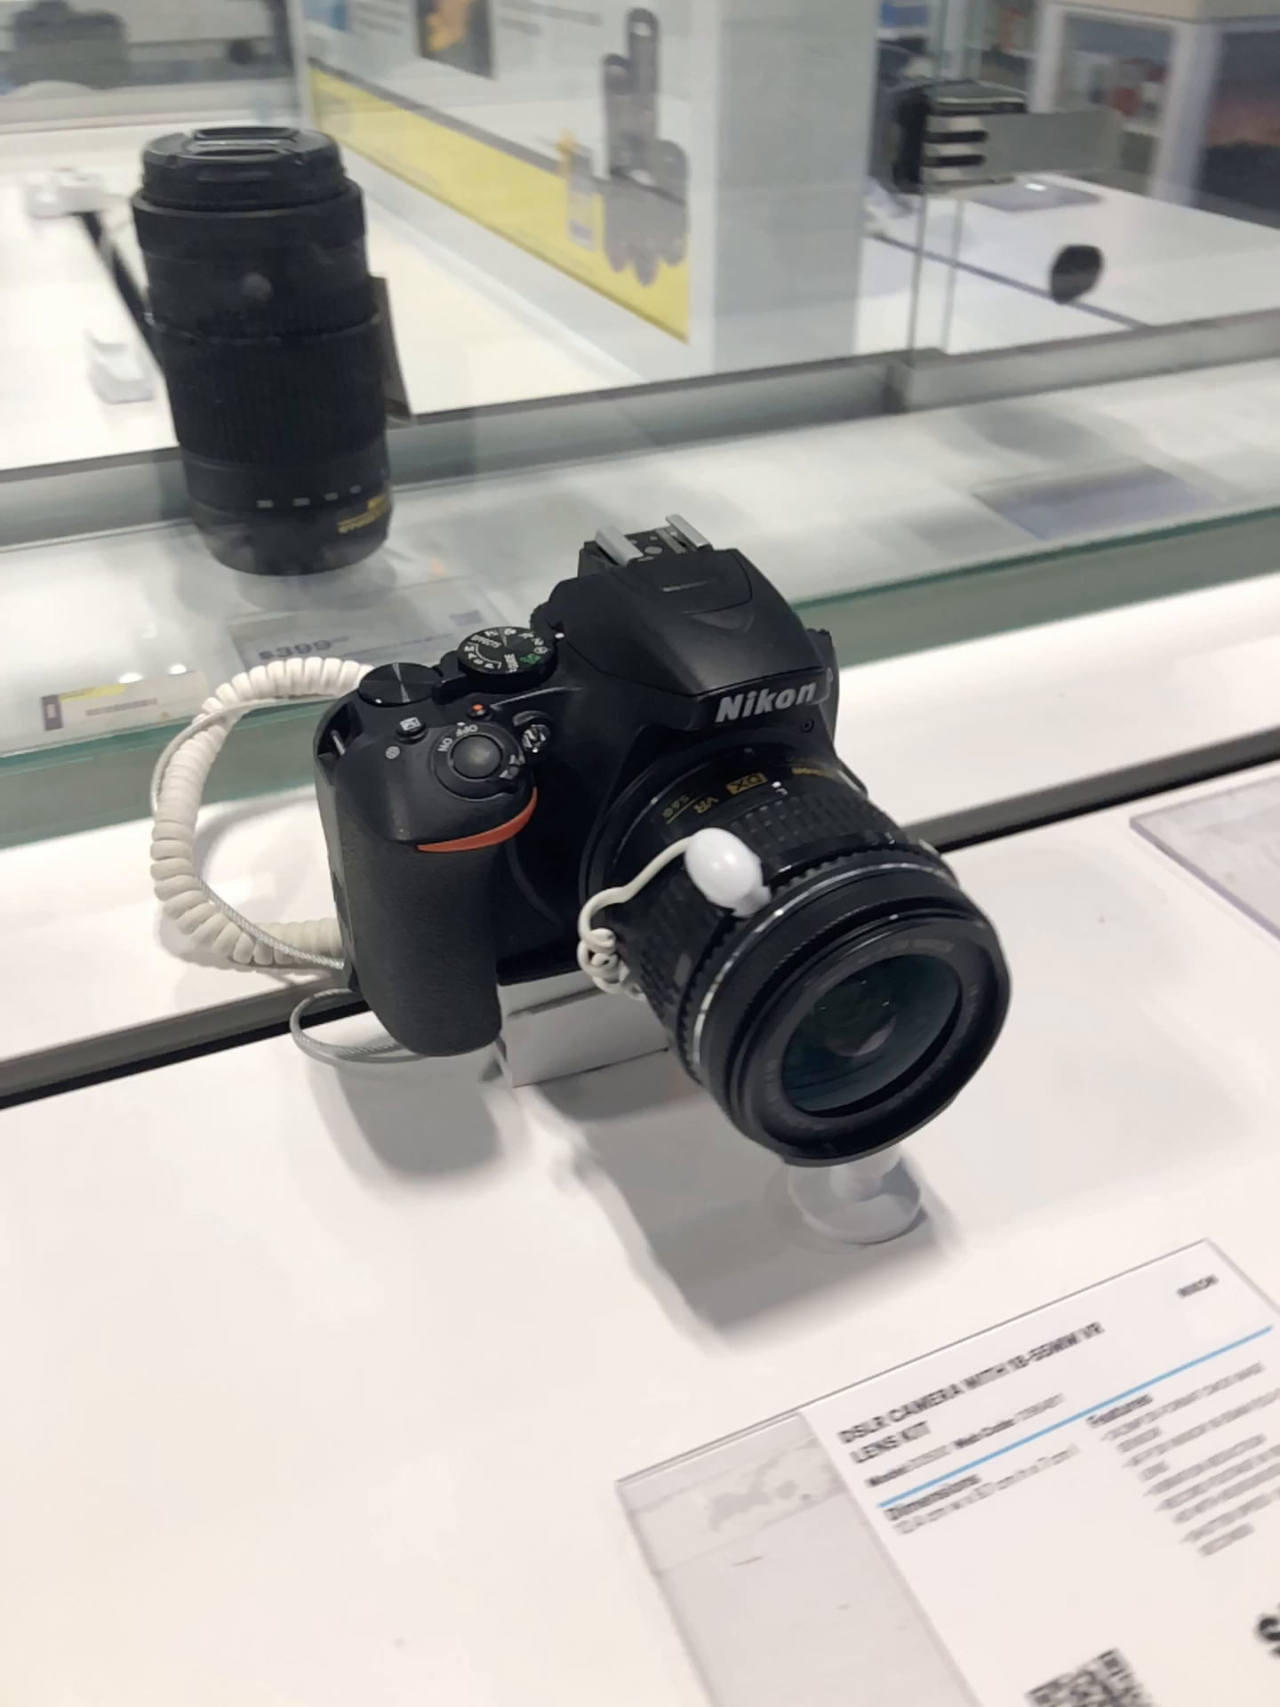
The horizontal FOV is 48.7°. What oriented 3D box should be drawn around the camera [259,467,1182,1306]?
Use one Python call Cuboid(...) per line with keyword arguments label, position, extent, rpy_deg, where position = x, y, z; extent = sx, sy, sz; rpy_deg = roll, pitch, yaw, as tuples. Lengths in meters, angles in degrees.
Cuboid(label="camera", position=(0.008, -0.007, 0.297), extent=(0.131, 0.089, 0.131), rpy_deg=(-16, 37, -21))
